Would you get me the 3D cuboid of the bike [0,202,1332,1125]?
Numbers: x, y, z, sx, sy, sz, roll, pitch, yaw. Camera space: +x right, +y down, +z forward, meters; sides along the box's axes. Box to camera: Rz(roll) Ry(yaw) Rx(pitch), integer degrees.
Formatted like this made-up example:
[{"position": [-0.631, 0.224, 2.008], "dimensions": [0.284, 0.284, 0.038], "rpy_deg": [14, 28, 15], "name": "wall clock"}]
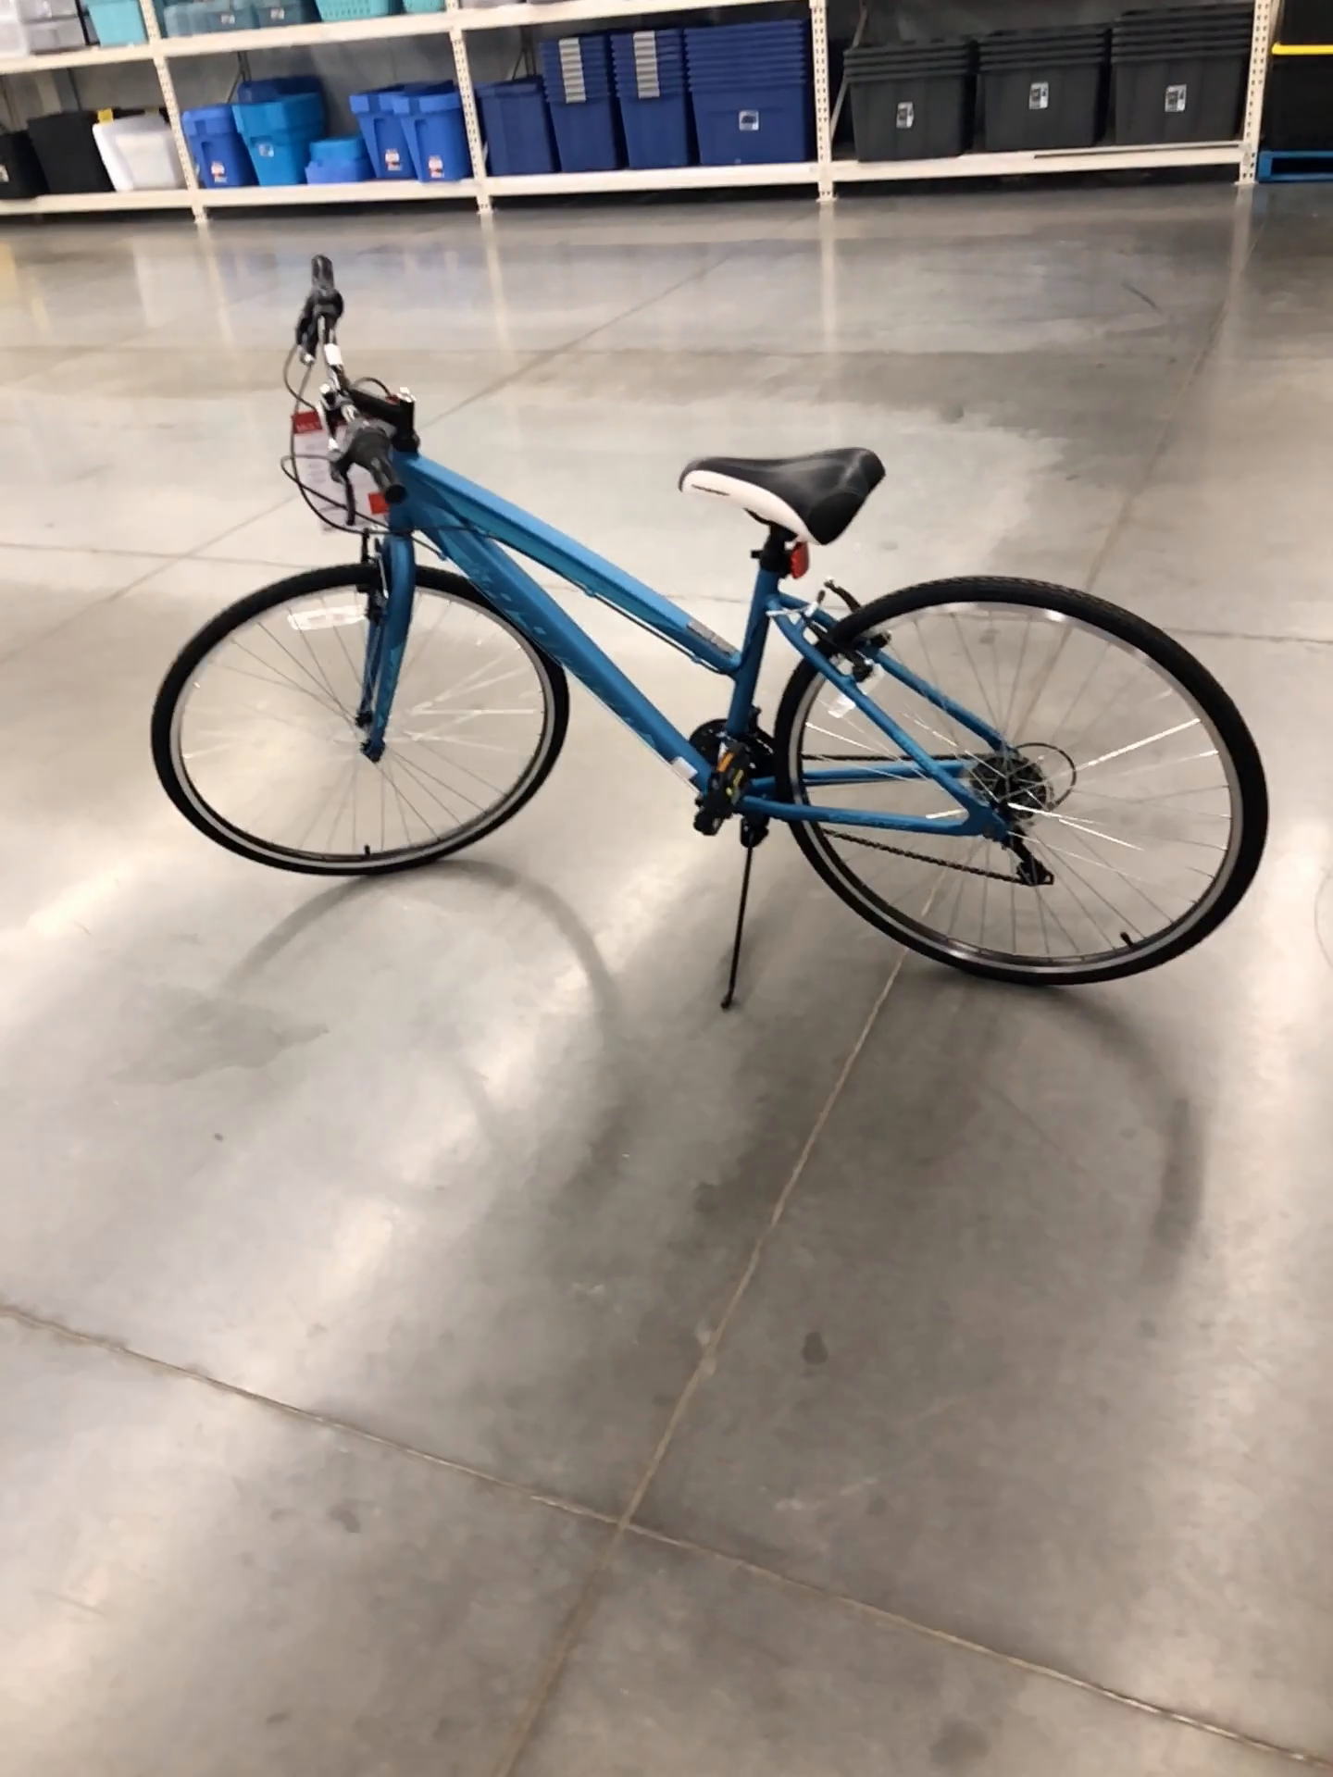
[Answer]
[{"position": [-0.031, -0.353, 2.034], "dimensions": [1.606, 0.978, 0.580], "rpy_deg": [6, 34, 17], "name": "bike"}]
